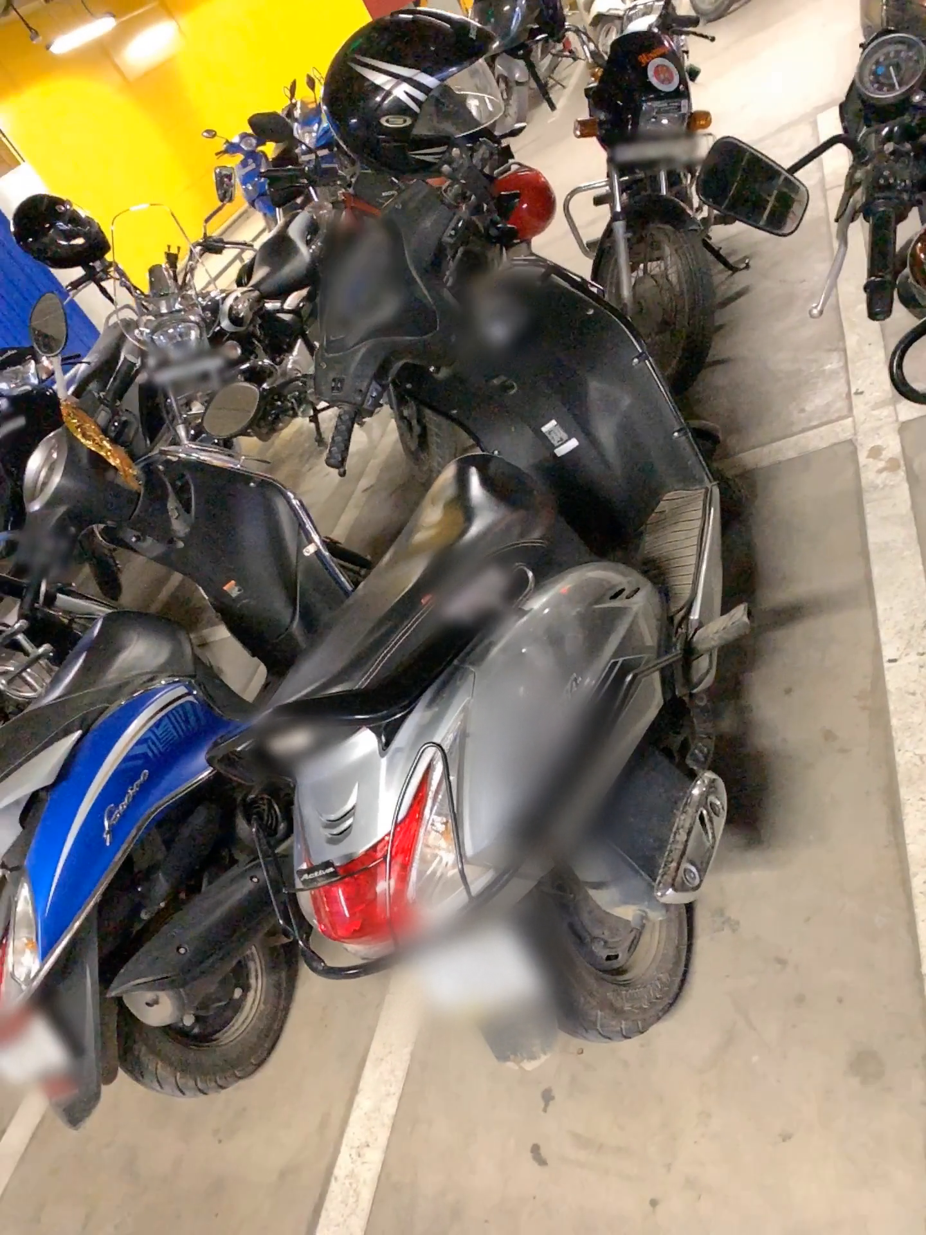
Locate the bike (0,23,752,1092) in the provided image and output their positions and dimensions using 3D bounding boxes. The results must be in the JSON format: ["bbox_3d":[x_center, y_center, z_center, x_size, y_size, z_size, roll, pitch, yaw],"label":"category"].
[{"bbox_3d":[-0.005,-0.176,1.778,0.631,1.089,1.539,-18,37,28],"label":"bike"}]
